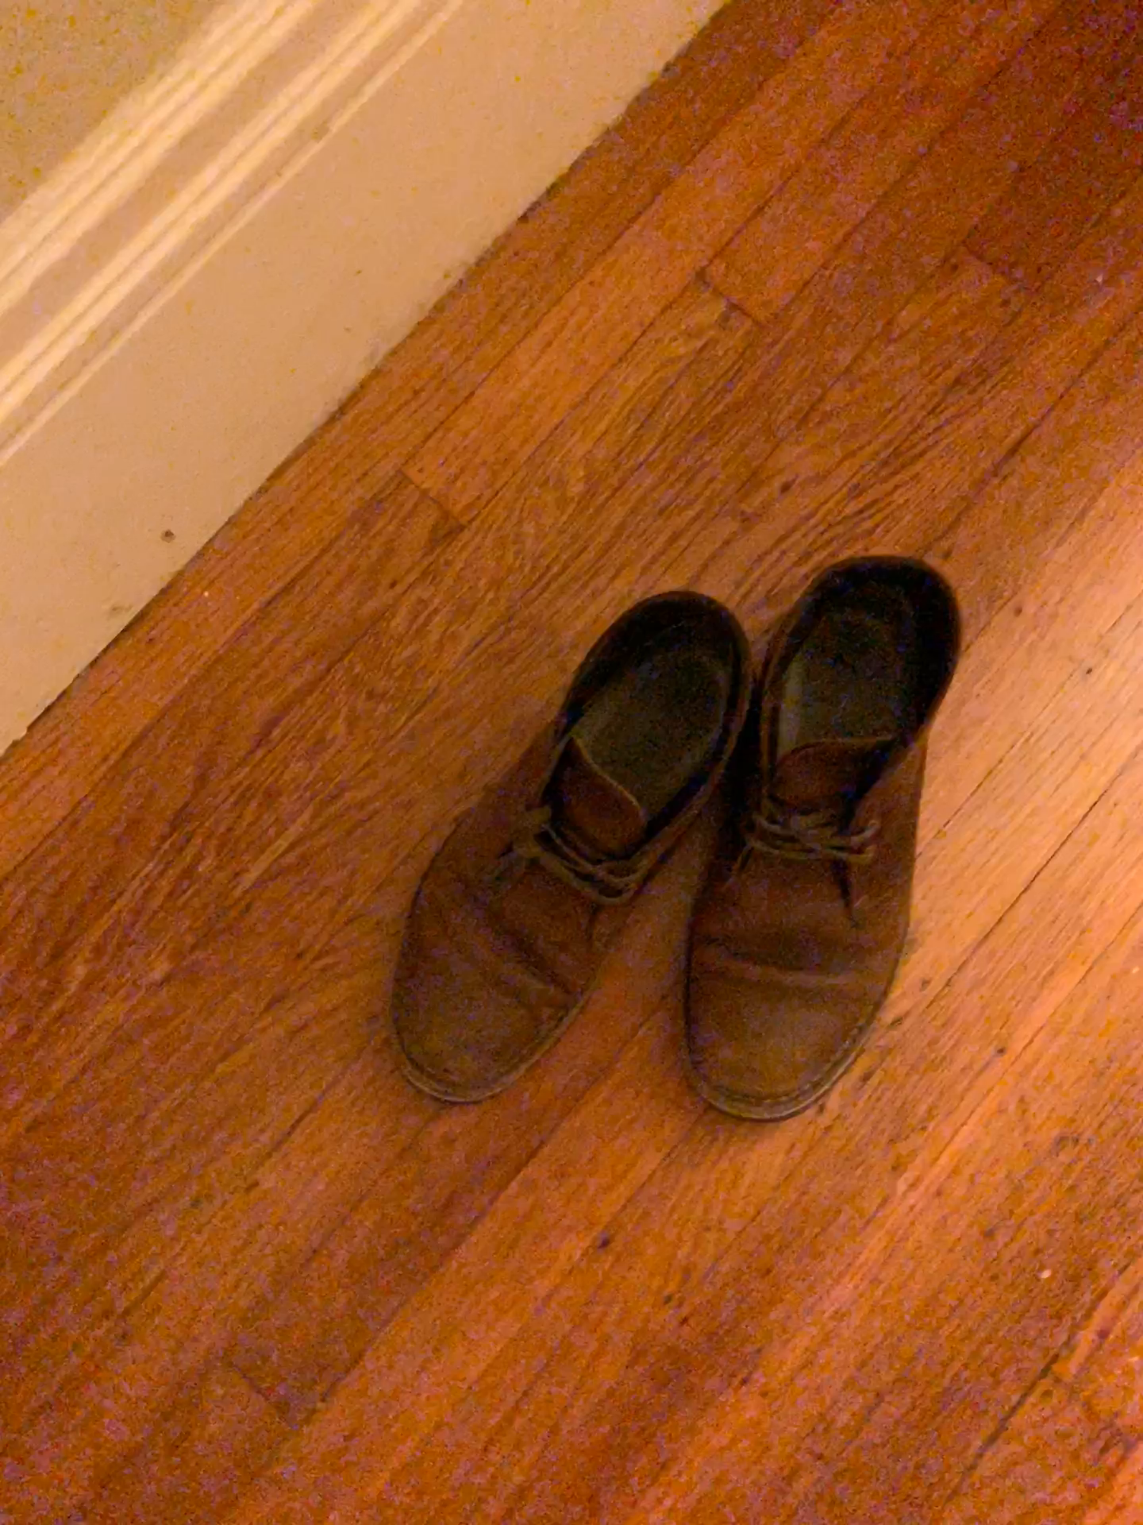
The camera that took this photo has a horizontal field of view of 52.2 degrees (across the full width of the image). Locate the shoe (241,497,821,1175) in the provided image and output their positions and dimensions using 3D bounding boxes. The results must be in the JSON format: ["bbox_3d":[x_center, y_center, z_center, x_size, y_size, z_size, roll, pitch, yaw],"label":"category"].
[{"bbox_3d":[-0.013,0.036,0.586,0.120,0.120,0.290,33,83,8],"label":"shoe"}]

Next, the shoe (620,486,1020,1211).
[{"bbox_3d":[0.115,0.039,0.571,0.120,0.120,0.300,12,81,5],"label":"shoe"}]
